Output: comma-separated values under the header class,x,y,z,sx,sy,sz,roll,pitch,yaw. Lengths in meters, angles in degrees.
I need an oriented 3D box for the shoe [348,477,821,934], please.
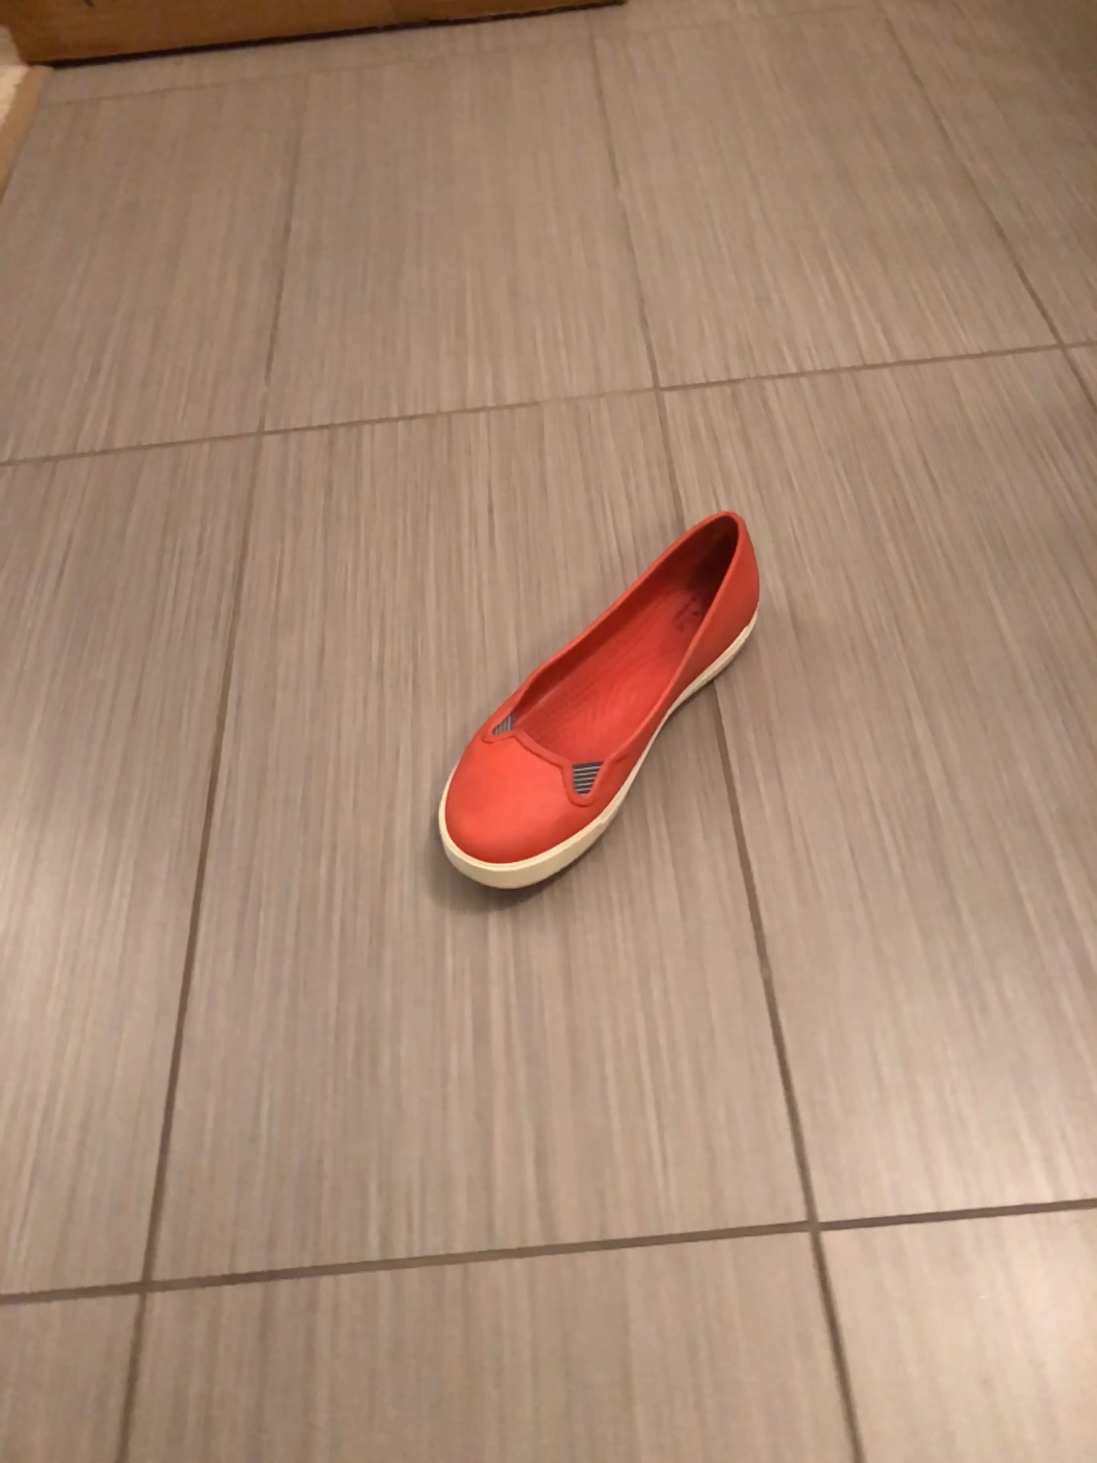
class,x,y,z,sx,sy,sz,roll,pitch,yaw
shoe,0.029,-0.024,0.674,0.100,0.070,0.271,34,62,28
